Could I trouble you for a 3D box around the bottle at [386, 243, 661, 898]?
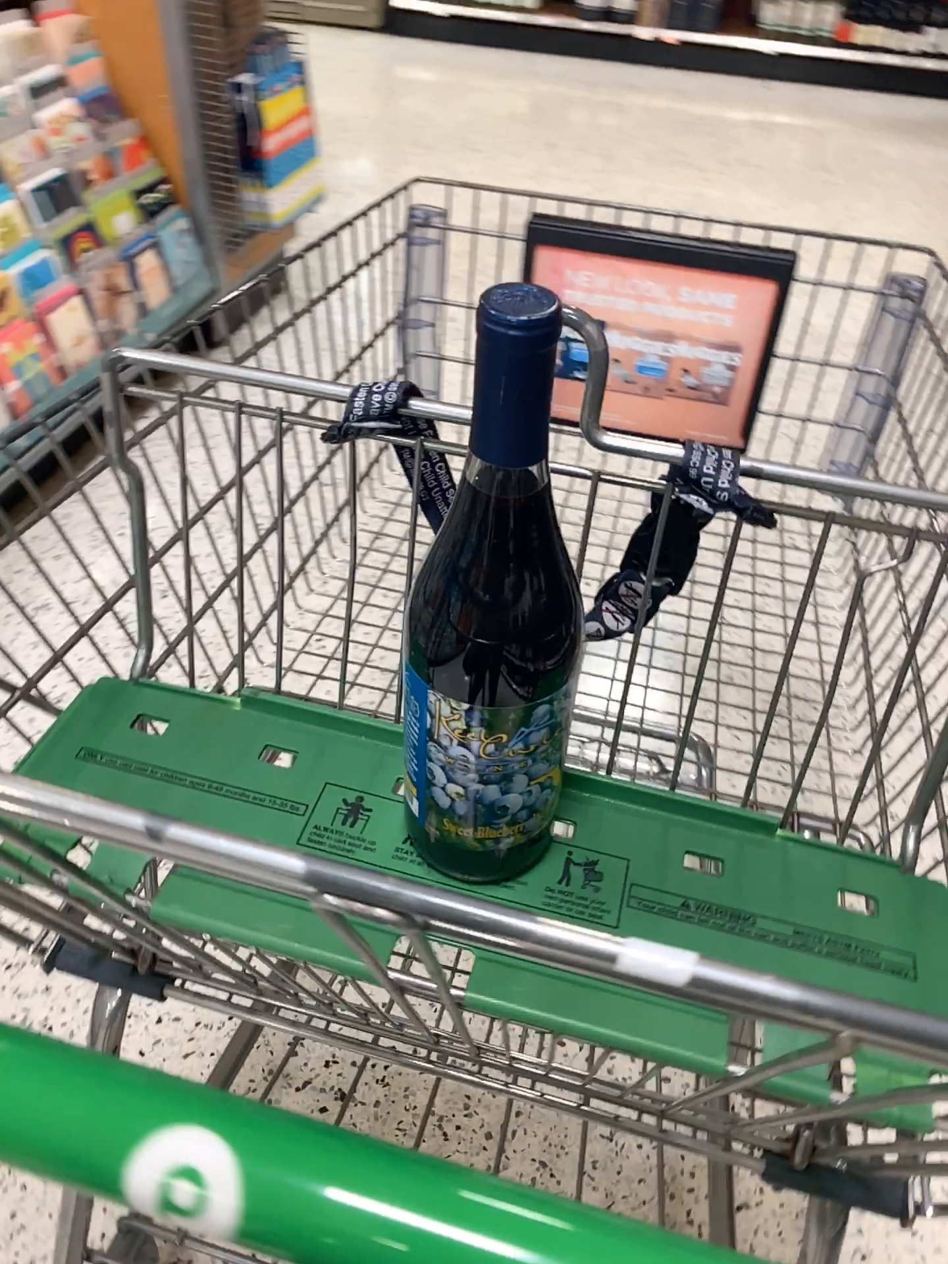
[{"bbox_3d":[0.006,-0.004,0.406,0.080,0.286,0.075,2,42,-2],"label":"bottle"}]
